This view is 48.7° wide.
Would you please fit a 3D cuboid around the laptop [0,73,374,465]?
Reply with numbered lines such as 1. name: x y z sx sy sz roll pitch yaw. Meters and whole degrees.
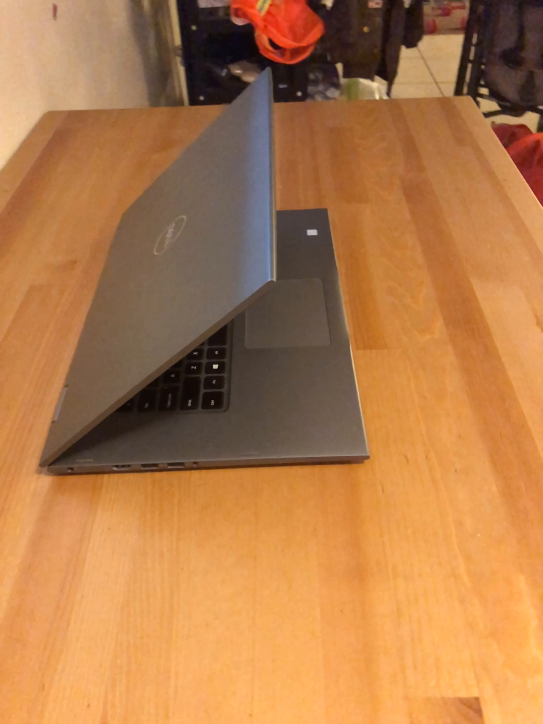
1. laptop: -0.062 -0.111 0.552 0.246 0.165 0.377 -2 43 1
